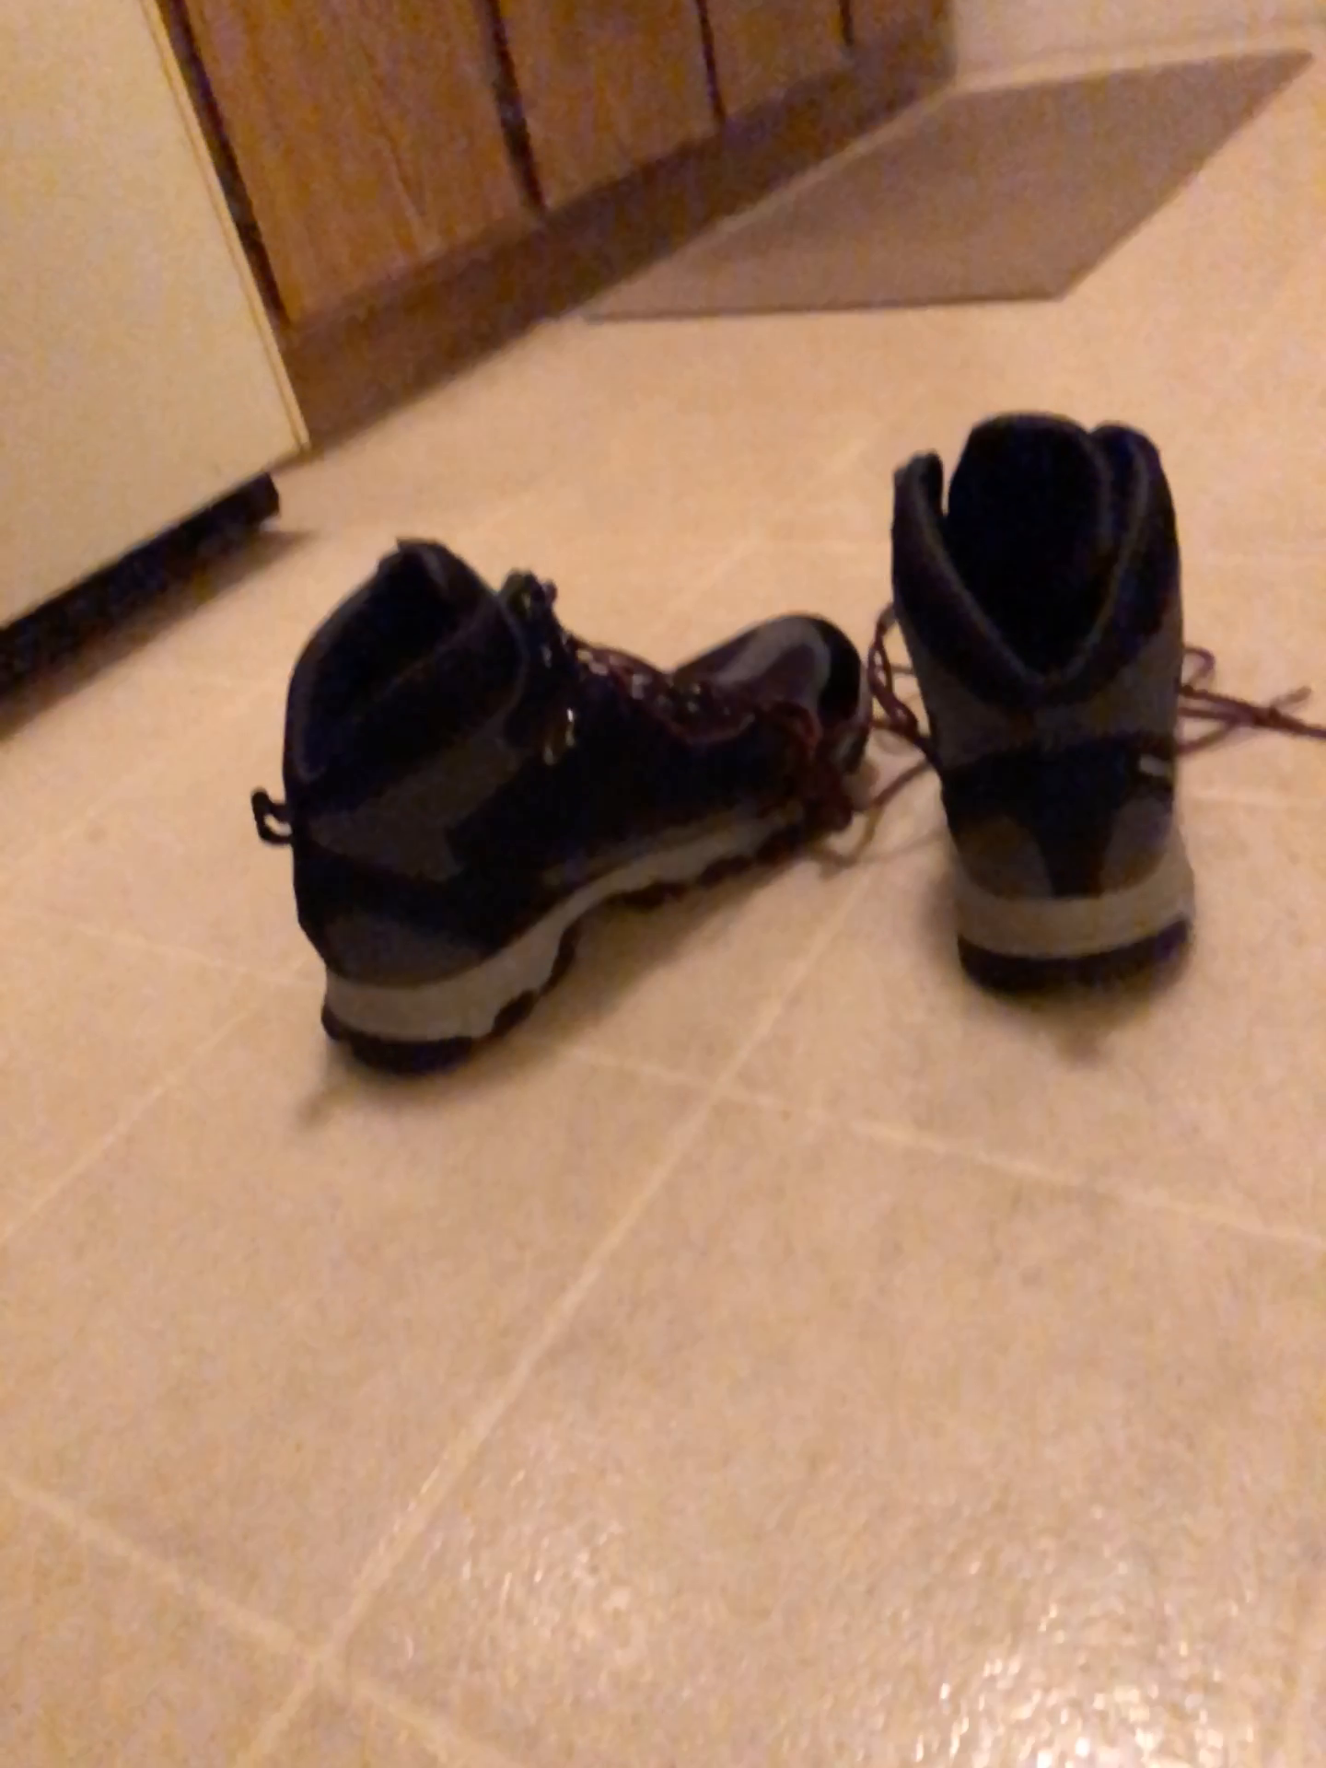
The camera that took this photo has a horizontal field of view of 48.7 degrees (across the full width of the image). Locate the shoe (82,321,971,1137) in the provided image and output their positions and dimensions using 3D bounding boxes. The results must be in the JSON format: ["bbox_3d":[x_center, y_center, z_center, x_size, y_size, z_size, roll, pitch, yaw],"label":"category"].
[{"bbox_3d":[-0.035,-0.080,0.607,0.310,0.195,0.126,-32,37,-24],"label":"shoe"}]

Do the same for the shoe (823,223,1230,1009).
[{"bbox_3d":[0.153,-0.123,0.602,0.116,0.195,0.301,-3,35,16],"label":"shoe"}]
